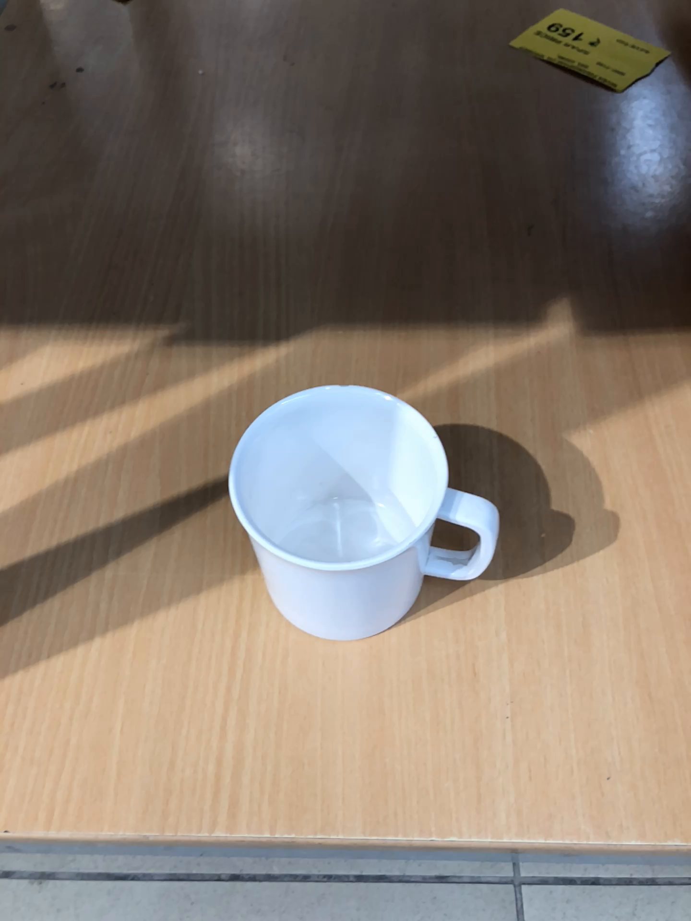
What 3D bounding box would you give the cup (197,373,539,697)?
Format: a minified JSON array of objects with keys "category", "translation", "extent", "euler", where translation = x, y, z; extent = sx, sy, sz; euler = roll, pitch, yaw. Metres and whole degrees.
[{"category":"cup","translation":[0.012,0.033,0.323],"extent":[0.110,0.090,0.080],"euler":[13,58,10]}]
